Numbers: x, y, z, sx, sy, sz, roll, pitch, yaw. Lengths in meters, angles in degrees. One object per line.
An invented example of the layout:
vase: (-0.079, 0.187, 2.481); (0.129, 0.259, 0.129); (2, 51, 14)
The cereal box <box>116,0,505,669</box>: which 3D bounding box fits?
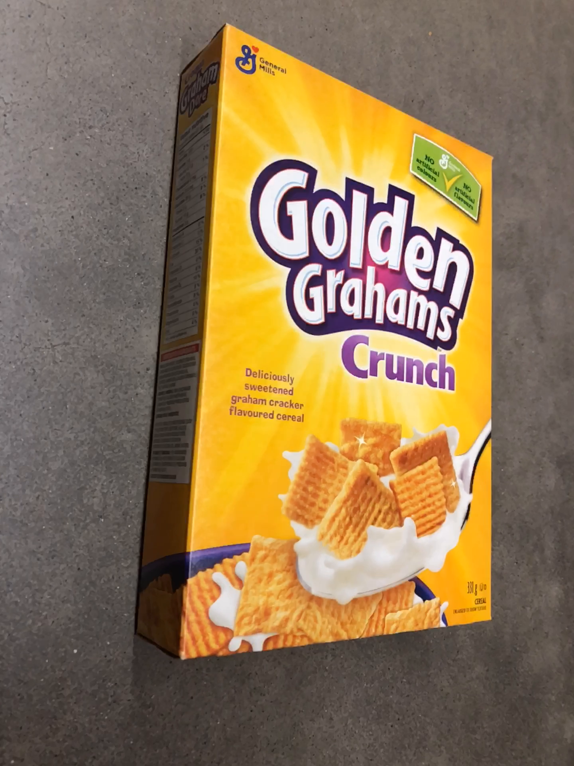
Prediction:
cereal box: (0.027, -0.018, 0.358); (0.201, 0.070, 0.300); (9, 81, -32)
